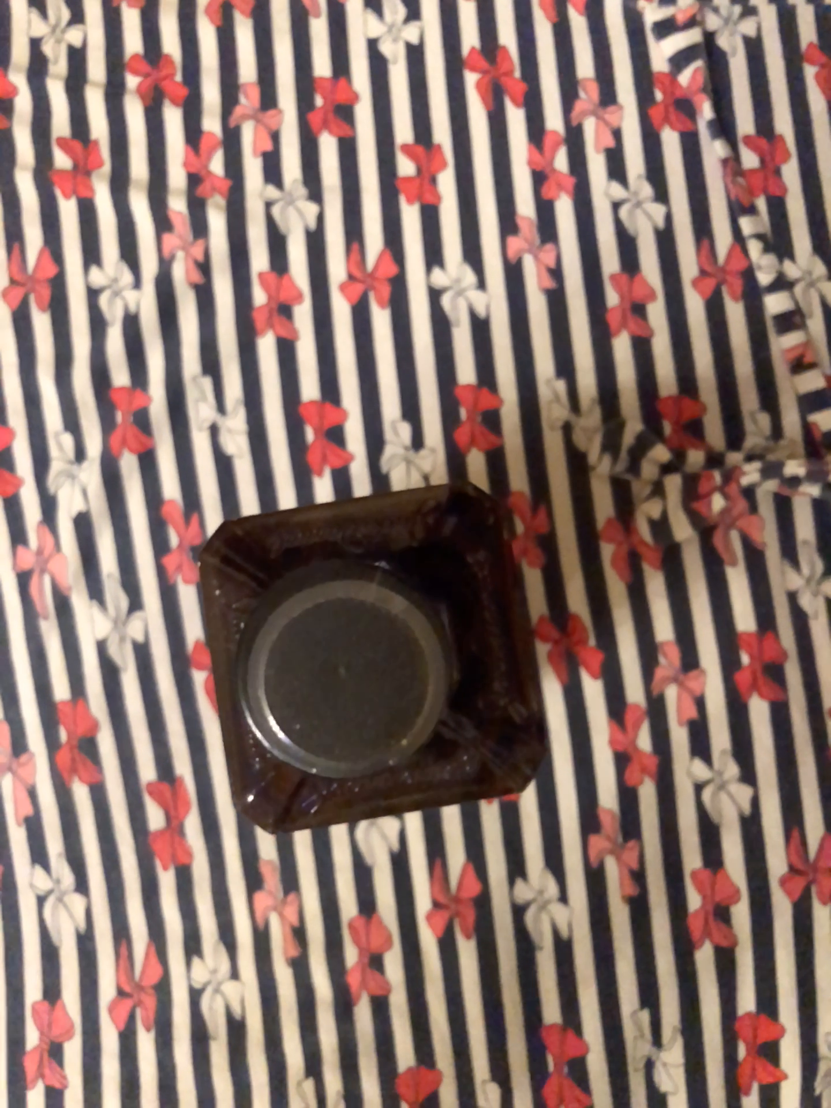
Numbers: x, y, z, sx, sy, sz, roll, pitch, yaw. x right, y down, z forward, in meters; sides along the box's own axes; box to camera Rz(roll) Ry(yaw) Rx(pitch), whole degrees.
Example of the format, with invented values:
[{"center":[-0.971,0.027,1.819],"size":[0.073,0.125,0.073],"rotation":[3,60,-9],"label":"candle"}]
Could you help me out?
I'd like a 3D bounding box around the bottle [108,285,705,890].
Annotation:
[{"center":[-0.004,0.016,0.253],"size":[0.073,0.247,0.074],"rotation":[0,84,-1],"label":"bottle"}]
